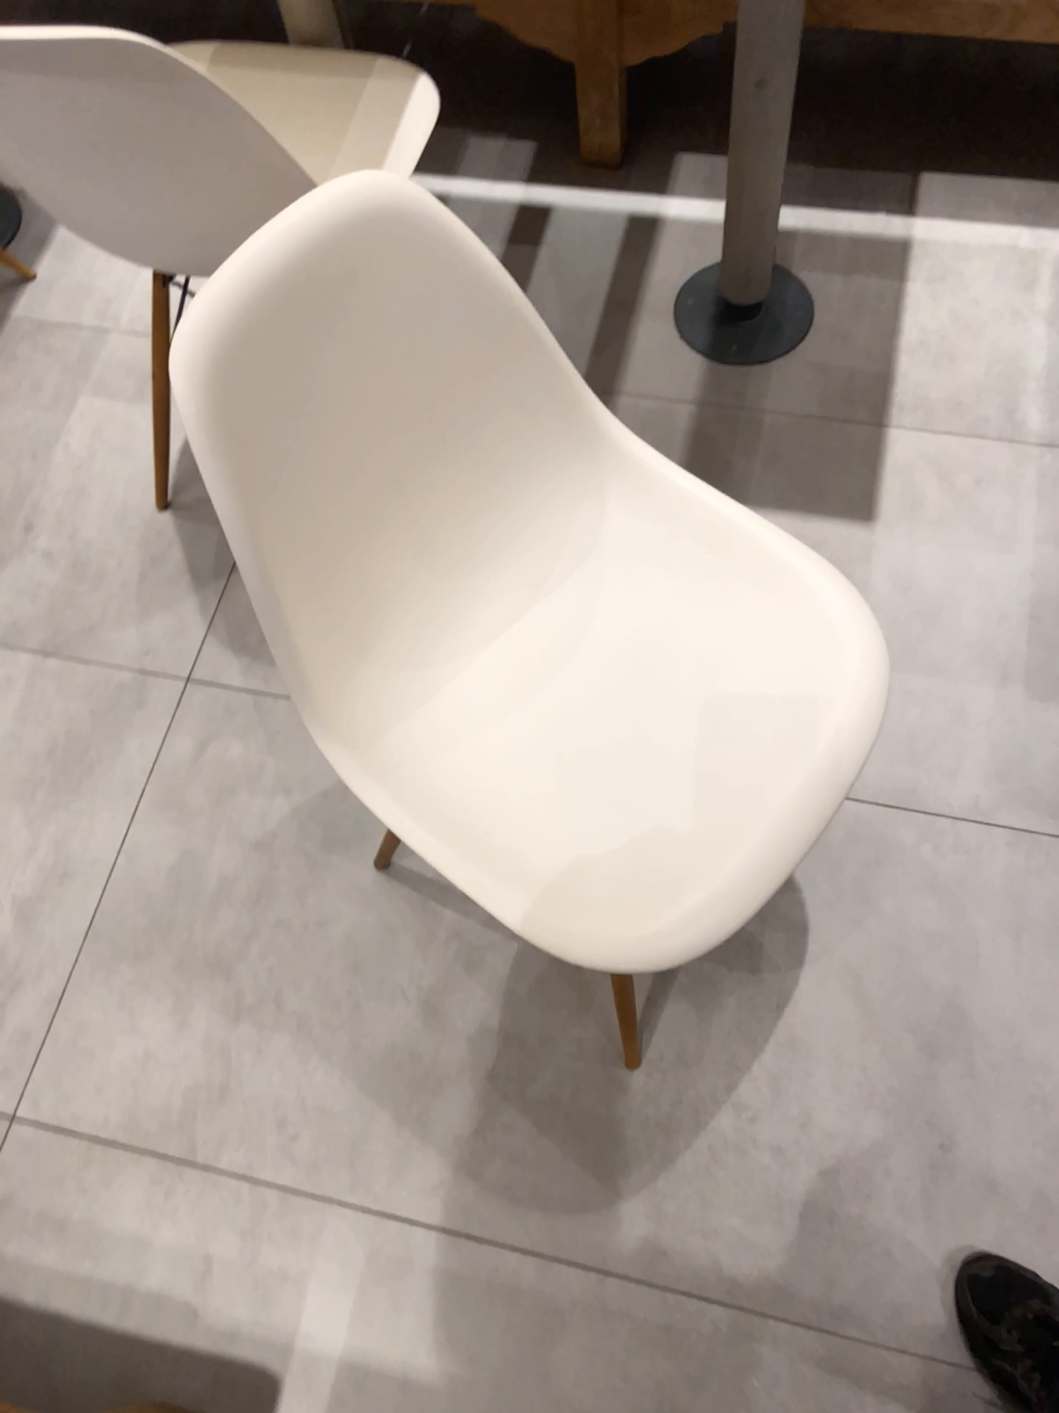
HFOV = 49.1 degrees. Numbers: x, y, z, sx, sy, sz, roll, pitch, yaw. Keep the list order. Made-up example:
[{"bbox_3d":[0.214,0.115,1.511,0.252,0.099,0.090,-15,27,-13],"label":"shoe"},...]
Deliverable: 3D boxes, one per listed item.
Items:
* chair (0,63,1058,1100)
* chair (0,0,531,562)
[{"bbox_3d":[0.026,-0.038,1.134,0.553,0.780,0.472,34,72,19],"label":"chair"},{"bbox_3d":[-0.363,-0.648,1.471,0.561,0.770,0.513,10,66,10],"label":"chair"}]
